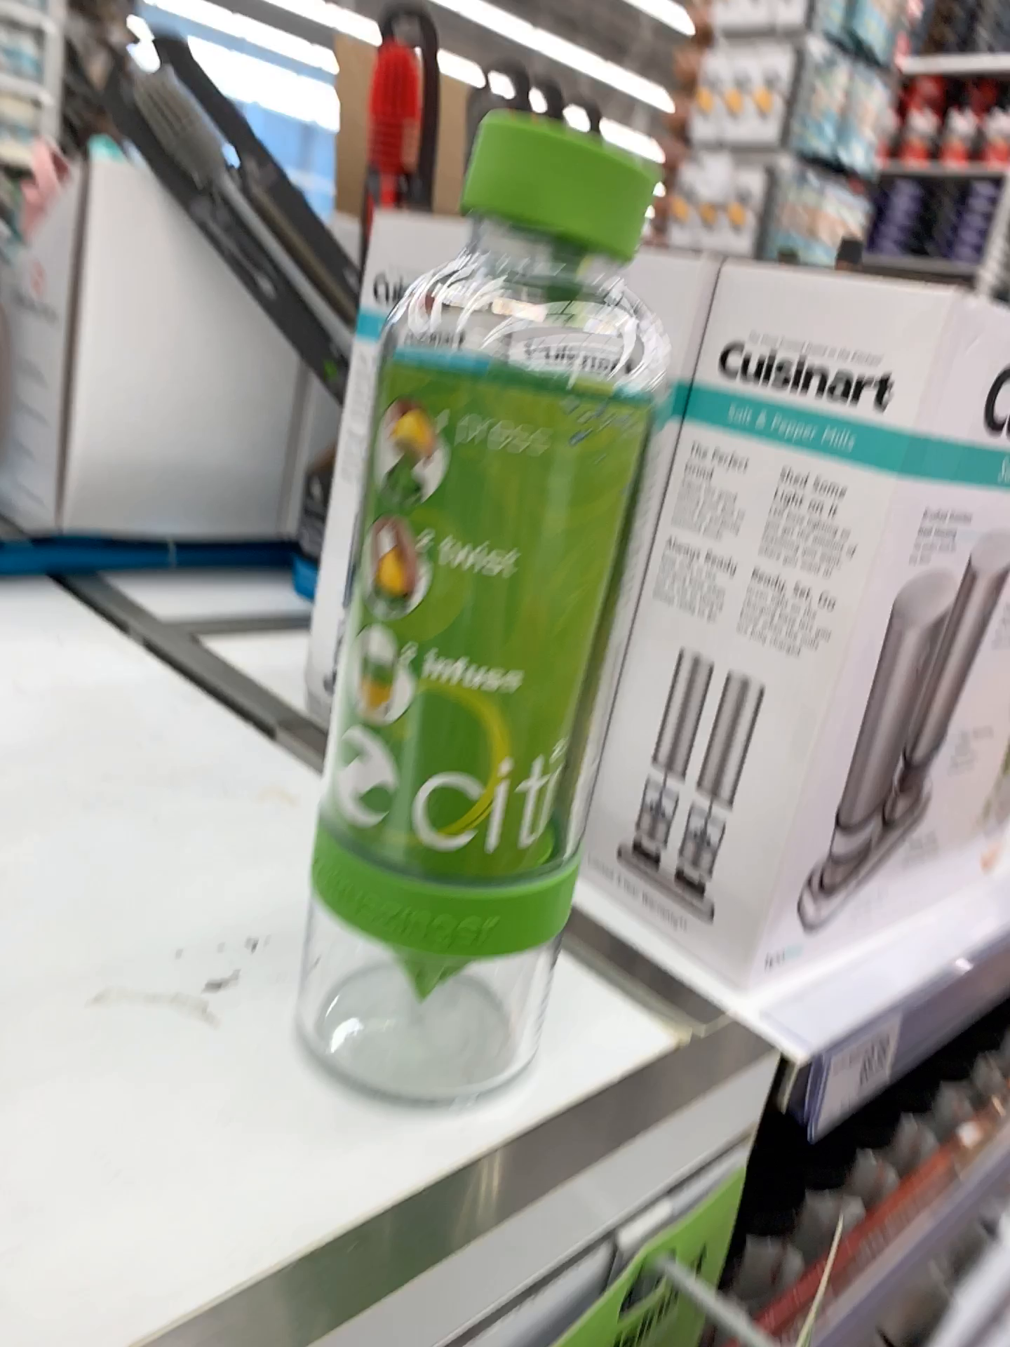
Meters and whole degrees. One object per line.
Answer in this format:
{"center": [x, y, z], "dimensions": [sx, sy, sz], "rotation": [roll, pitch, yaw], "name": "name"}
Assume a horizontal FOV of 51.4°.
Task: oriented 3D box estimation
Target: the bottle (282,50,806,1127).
{"center": [-0.005, -0.010, 0.283], "dimensions": [0.078, 0.250, 0.081], "rotation": [10, 17, -3], "name": "bottle"}
